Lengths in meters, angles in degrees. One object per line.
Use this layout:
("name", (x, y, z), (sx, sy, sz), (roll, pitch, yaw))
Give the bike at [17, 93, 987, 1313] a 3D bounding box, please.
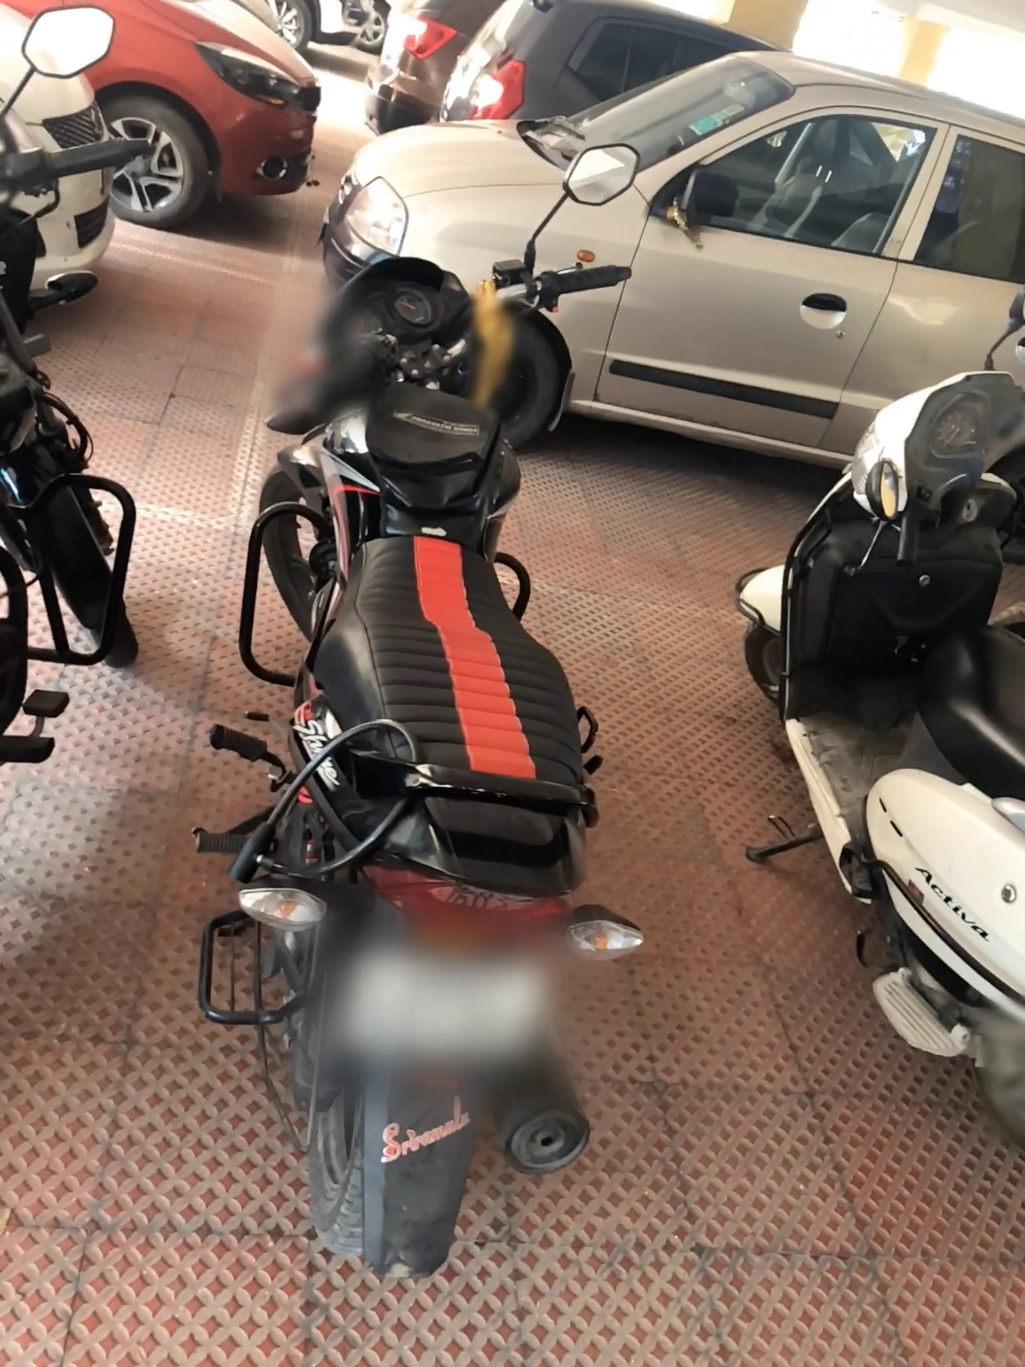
("bike", (-0.298, -0.099, 1.724), (0.746, 1.010, 1.561), (4, 35, -21))
